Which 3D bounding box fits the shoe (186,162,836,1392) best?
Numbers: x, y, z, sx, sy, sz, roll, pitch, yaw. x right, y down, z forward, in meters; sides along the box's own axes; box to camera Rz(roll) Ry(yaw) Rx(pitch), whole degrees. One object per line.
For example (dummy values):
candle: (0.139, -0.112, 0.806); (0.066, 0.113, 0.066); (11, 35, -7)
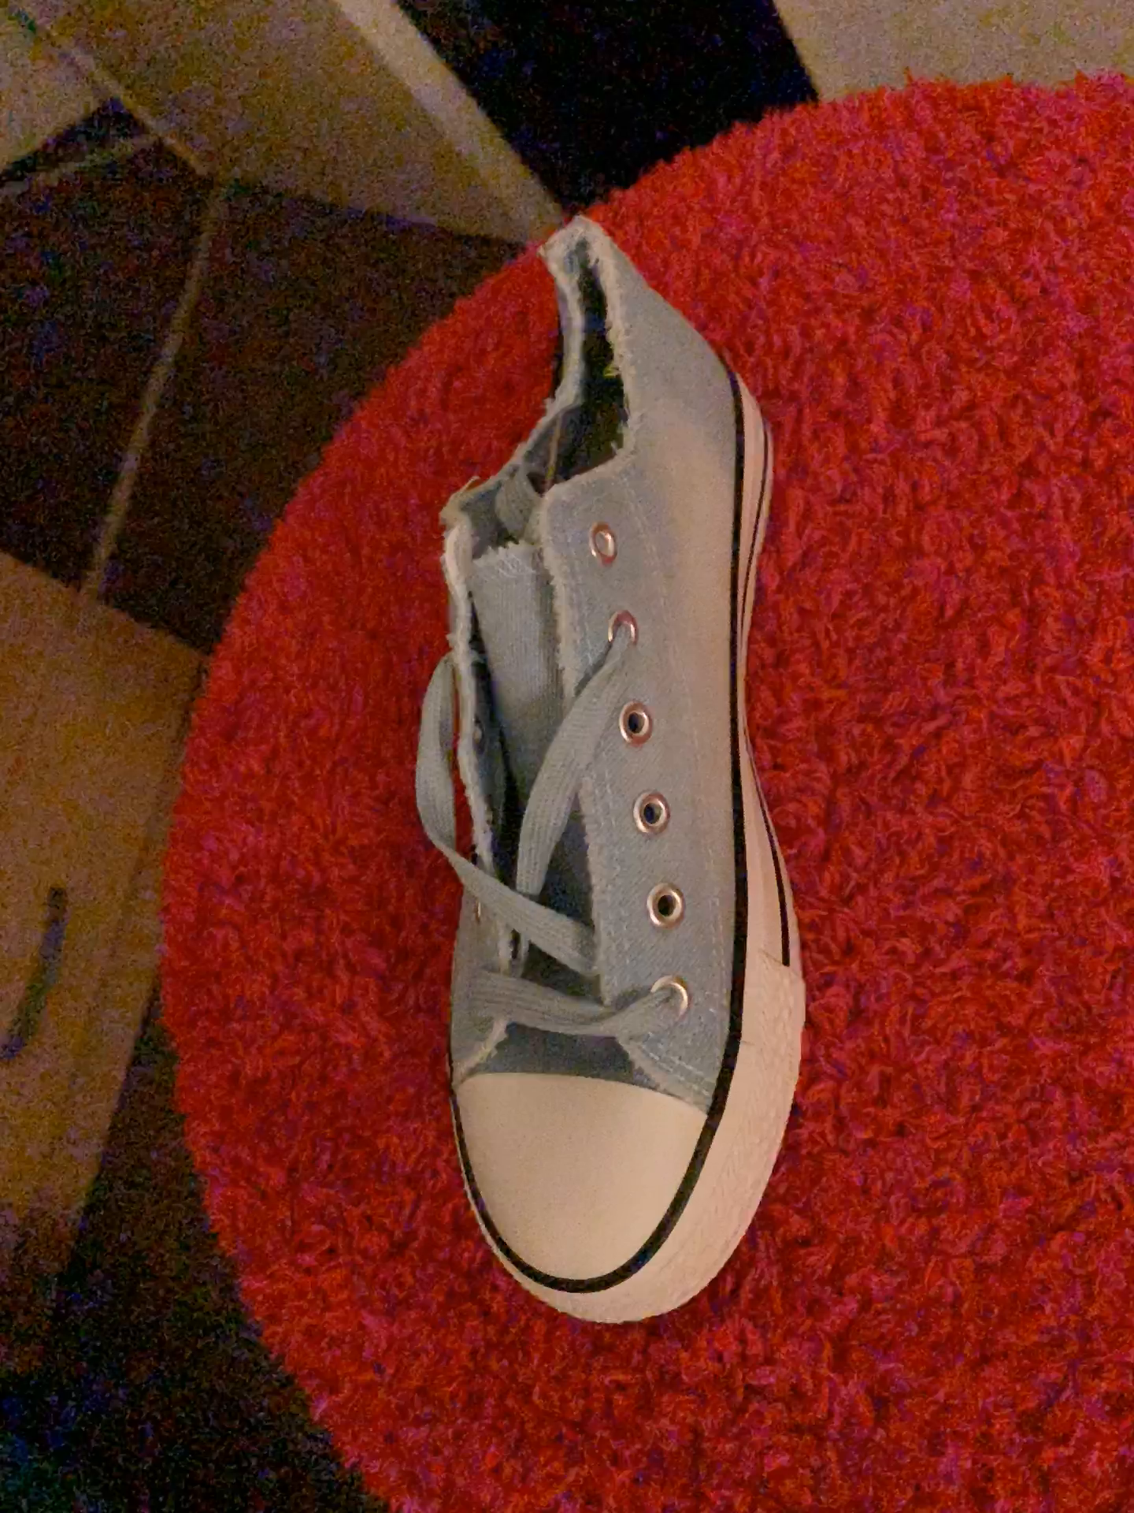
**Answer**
shoe: (0.000, 0.001, 0.285); (0.098, 0.086, 0.250); (-7, 66, 32)
